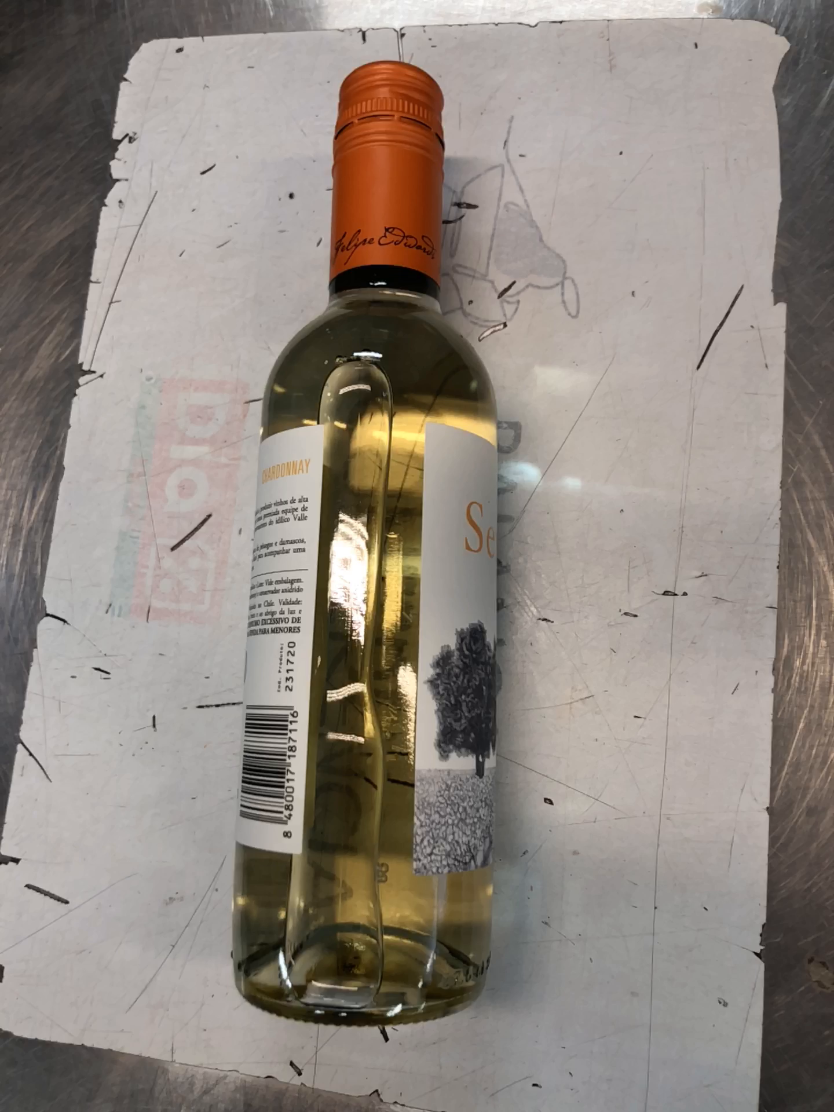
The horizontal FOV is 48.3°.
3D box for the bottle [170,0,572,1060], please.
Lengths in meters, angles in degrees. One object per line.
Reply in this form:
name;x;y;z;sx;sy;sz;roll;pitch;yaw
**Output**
bottle;-0.012;-0.026;0.244;0.070;0.070;0.270;6;81;-11
